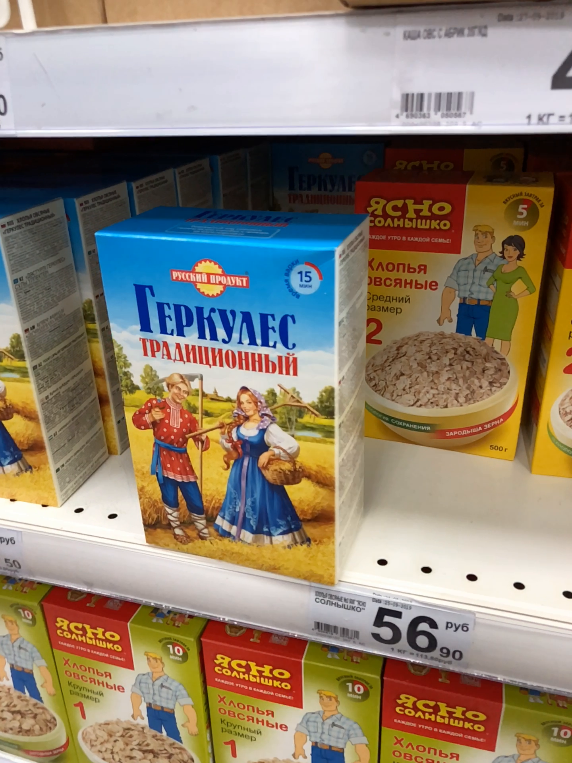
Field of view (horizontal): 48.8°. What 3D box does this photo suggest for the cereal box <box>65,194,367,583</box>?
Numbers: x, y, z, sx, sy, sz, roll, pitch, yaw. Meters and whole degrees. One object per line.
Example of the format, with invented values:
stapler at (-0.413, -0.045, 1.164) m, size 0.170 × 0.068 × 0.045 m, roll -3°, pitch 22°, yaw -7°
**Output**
cereal box at (-0.029, 0.001, 0.350) m, size 0.130 × 0.189 × 0.070 m, roll 7°, pitch 27°, yaw 18°
